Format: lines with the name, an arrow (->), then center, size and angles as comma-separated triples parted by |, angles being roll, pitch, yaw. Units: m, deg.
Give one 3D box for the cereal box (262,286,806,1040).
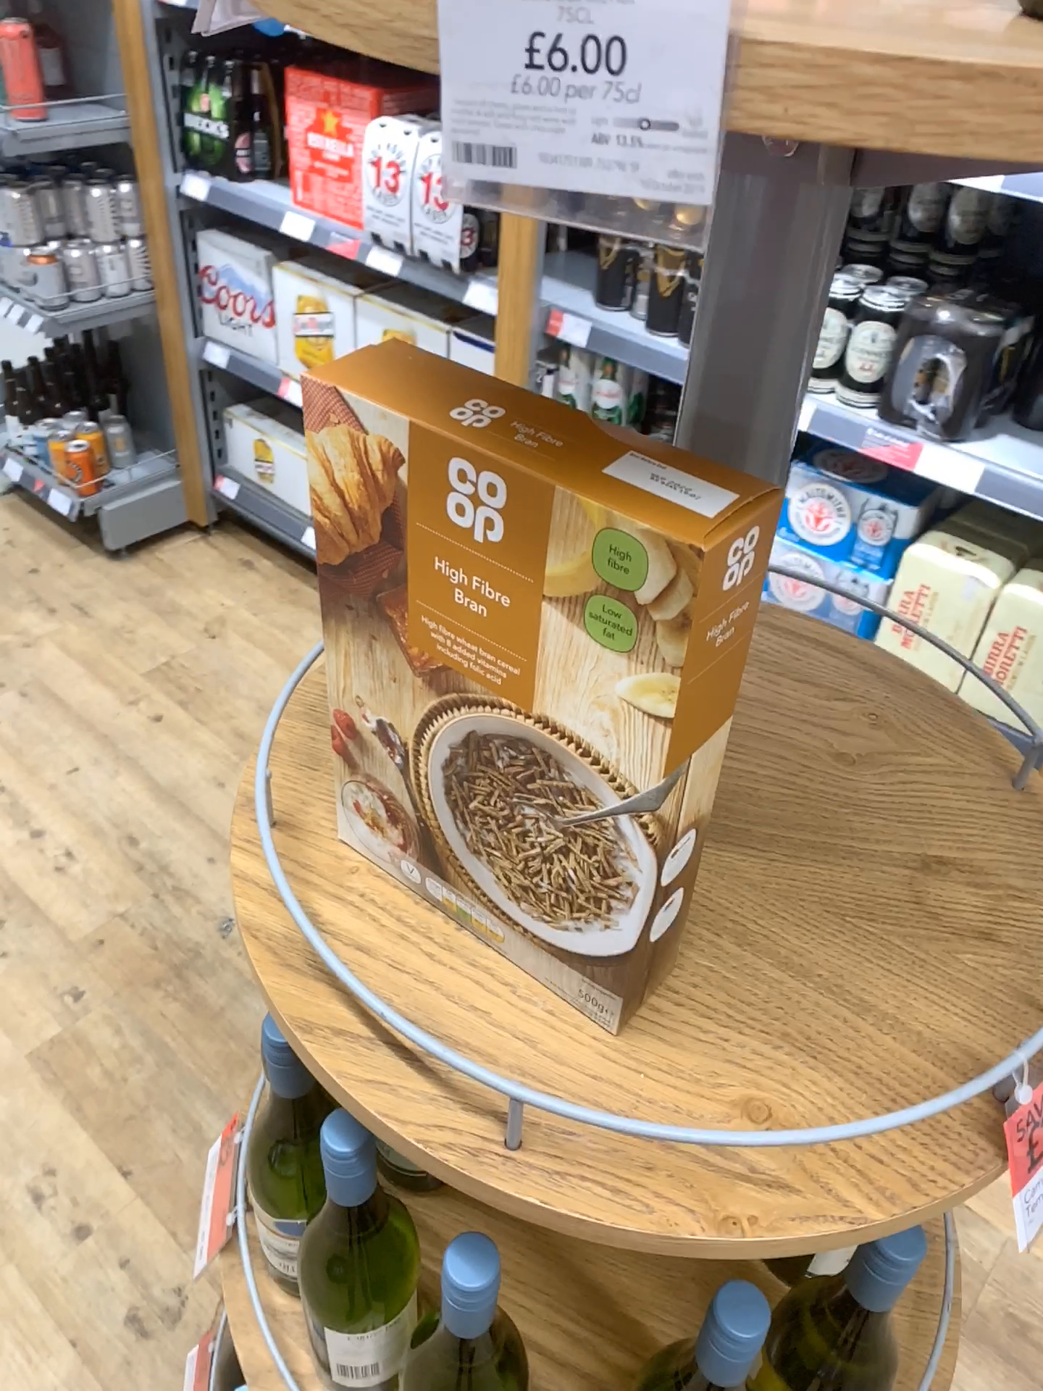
cereal box -> -0.010, -0.007, 0.467 | 0.201, 0.277, 0.060 | 29, 45, 27
